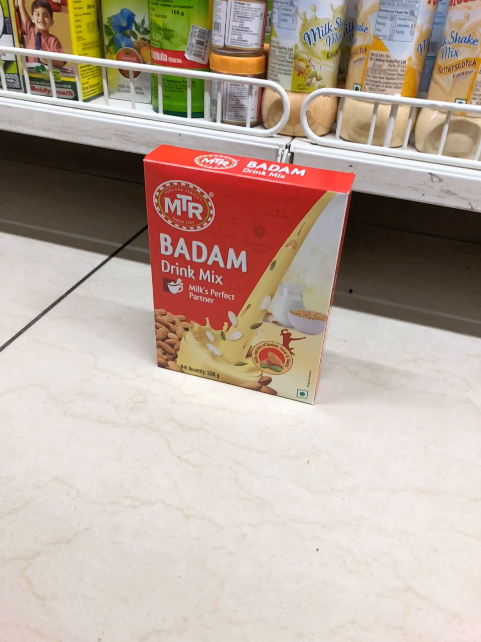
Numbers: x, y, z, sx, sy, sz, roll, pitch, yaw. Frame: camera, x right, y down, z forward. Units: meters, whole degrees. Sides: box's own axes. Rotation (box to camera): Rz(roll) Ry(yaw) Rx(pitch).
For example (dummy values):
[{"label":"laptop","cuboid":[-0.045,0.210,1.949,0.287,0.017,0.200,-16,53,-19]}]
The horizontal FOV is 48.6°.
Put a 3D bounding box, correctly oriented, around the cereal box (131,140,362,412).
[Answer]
[{"label":"cereal box","cuboid":[0.000,-0.026,0.357,0.130,0.159,0.040,12,35,12]}]
